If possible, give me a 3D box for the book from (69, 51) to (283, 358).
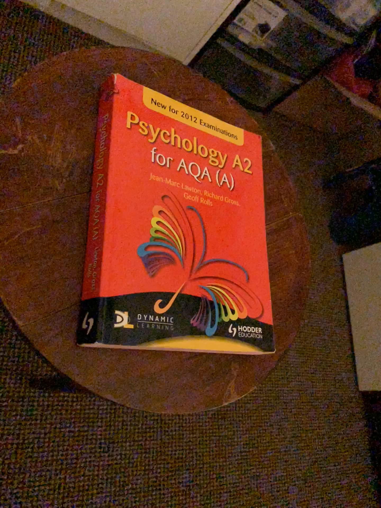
[{"bbox_3d":[-0.004,-0.044,0.416,0.211,0.040,0.291,12,67,-31],"label":"book"}]
